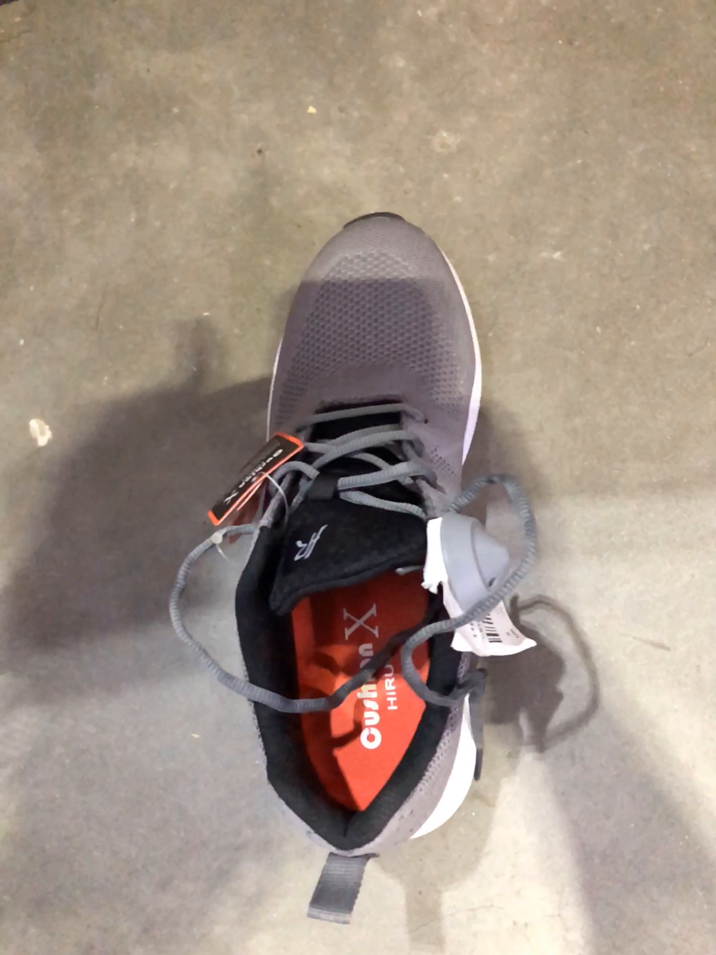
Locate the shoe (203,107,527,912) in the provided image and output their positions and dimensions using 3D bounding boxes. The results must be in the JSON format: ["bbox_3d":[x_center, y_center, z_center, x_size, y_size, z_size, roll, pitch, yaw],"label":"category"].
[{"bbox_3d":[0.004,0.011,0.370,0.110,0.100,0.320,-6,78,11],"label":"shoe"}]
